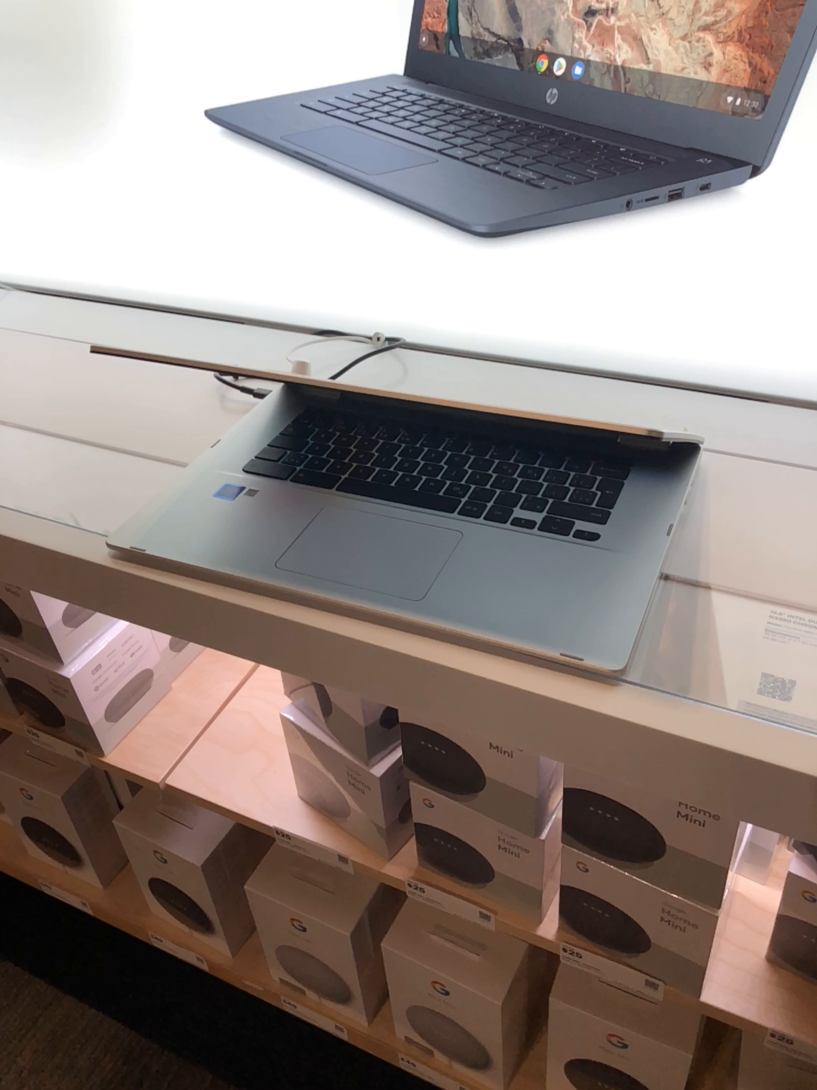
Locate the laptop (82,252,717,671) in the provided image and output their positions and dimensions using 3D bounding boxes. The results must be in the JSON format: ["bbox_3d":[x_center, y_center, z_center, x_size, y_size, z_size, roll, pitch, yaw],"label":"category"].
[{"bbox_3d":[0.000,-0.081,0.588,0.341,0.113,0.222,12,42,24],"label":"laptop"}]
